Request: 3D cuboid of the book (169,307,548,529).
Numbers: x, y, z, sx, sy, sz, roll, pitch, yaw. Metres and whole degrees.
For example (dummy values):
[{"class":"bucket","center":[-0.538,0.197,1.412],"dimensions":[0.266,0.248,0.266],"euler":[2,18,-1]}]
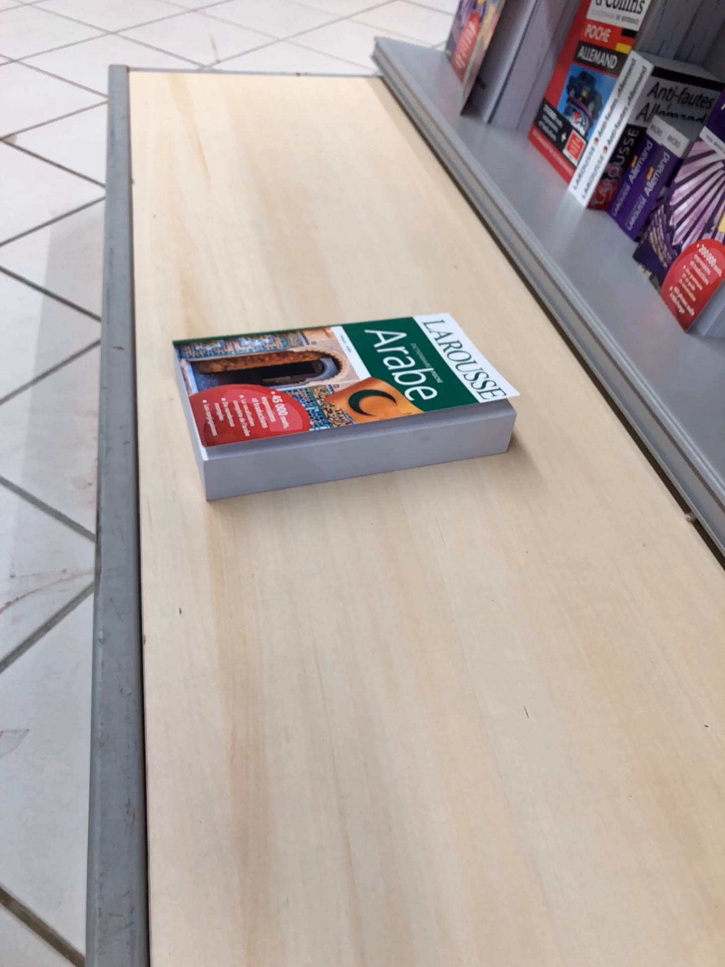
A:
[{"class":"book","center":[-0.008,-0.043,0.449],"dimensions":[0.182,0.045,0.111],"euler":[-7,46,-15]}]
